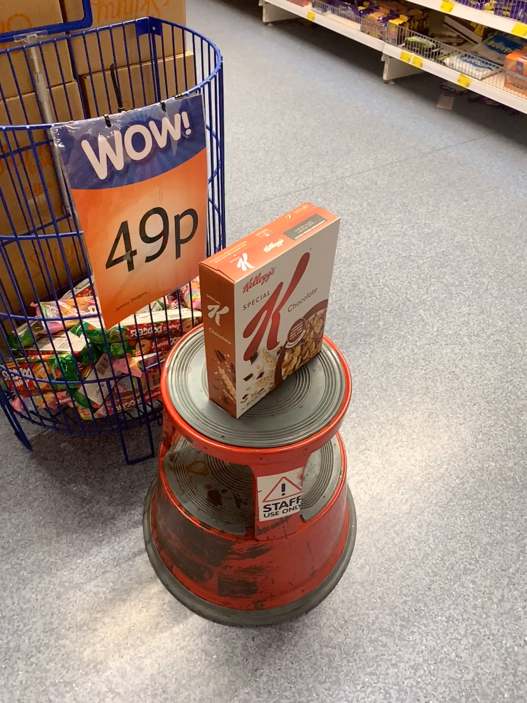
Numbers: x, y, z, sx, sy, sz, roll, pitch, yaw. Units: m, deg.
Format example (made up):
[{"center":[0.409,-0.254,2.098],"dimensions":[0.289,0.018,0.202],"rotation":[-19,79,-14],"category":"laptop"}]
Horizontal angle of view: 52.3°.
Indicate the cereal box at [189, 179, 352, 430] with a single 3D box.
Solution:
[{"center":[0.012,-0.055,0.708],"dimensions":[0.060,0.267,0.211],"rotation":[34,54,28],"category":"cereal box"}]
